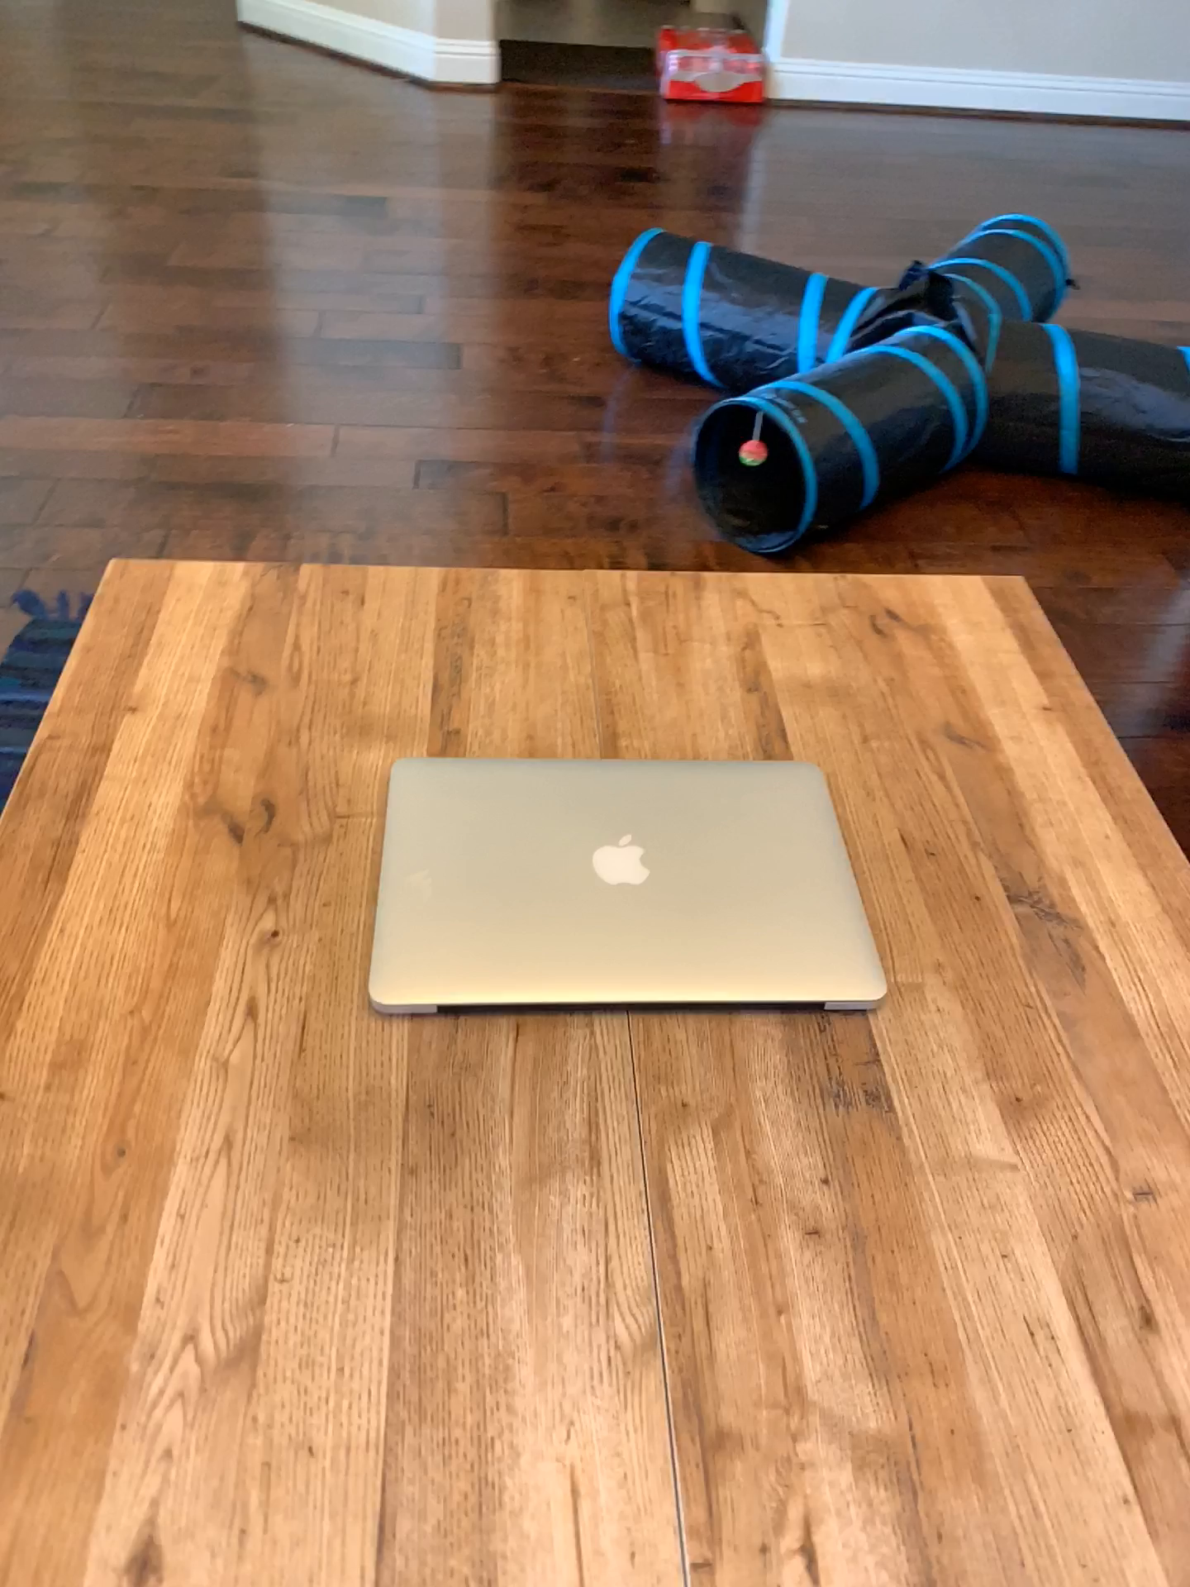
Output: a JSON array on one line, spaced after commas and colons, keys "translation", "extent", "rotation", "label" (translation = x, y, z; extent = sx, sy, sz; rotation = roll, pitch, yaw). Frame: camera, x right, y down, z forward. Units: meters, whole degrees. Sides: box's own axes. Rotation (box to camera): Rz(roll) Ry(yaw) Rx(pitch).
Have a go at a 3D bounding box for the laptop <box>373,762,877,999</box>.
[{"translation": [0.015, 0.049, 0.793], "extent": [0.298, 0.002, 0.209], "rotation": [1, 42, -5], "label": "laptop"}]
